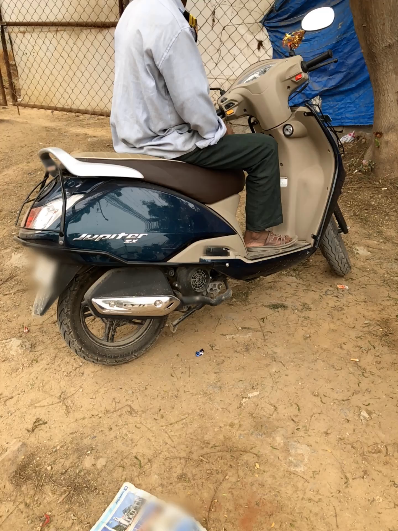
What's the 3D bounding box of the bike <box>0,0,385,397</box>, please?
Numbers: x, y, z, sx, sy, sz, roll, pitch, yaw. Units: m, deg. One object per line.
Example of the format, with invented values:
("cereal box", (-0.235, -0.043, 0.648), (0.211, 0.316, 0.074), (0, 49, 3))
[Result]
("bike", (-0.041, -0.456, 1.843), (1.346, 1.120, 0.636), (-24, 36, -26))
